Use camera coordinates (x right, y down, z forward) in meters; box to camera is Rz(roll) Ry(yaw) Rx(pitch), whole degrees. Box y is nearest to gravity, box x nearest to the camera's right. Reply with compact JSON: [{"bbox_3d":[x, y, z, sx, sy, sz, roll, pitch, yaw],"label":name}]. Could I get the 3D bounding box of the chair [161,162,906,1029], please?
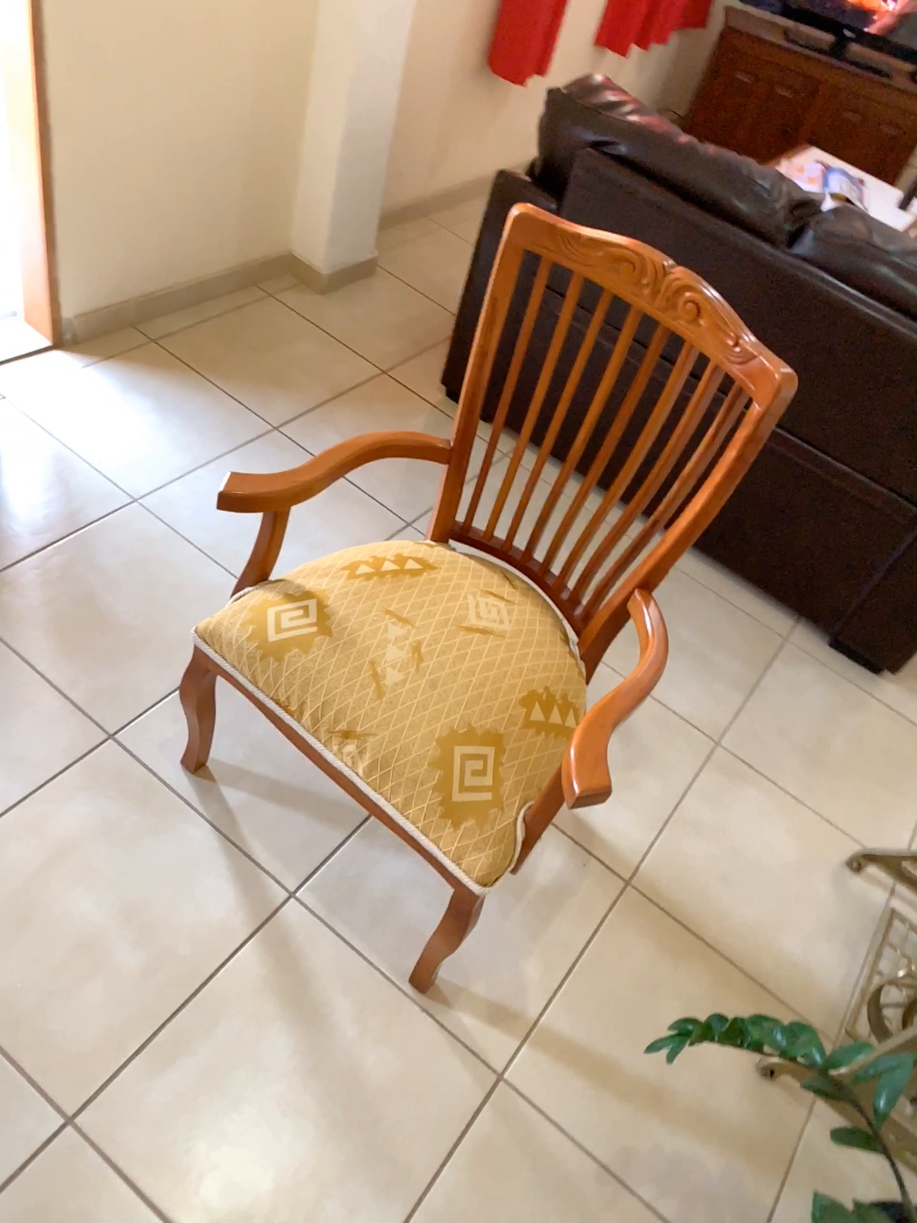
[{"bbox_3d":[0.021,0.005,1.435,0.620,1.014,0.633,38,47,16],"label":"chair"}]
